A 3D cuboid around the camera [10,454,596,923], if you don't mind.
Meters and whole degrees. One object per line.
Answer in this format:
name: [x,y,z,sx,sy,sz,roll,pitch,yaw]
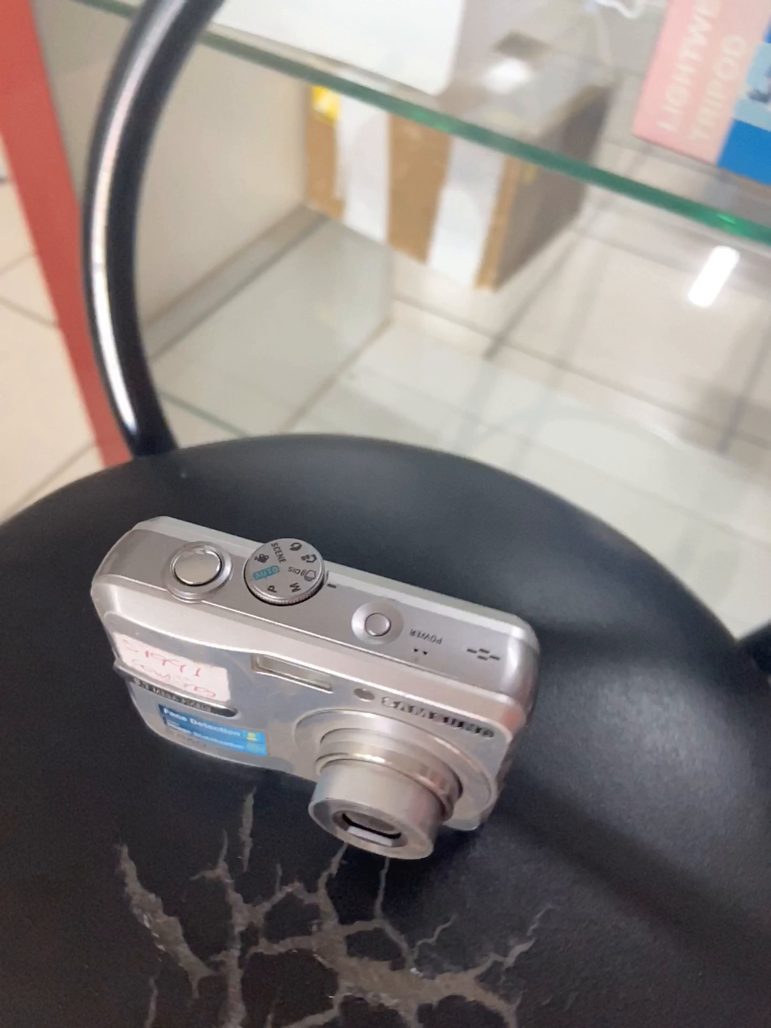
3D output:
camera: [-0.015,0.038,0.178,0.100,0.060,0.050,17,51,9]
